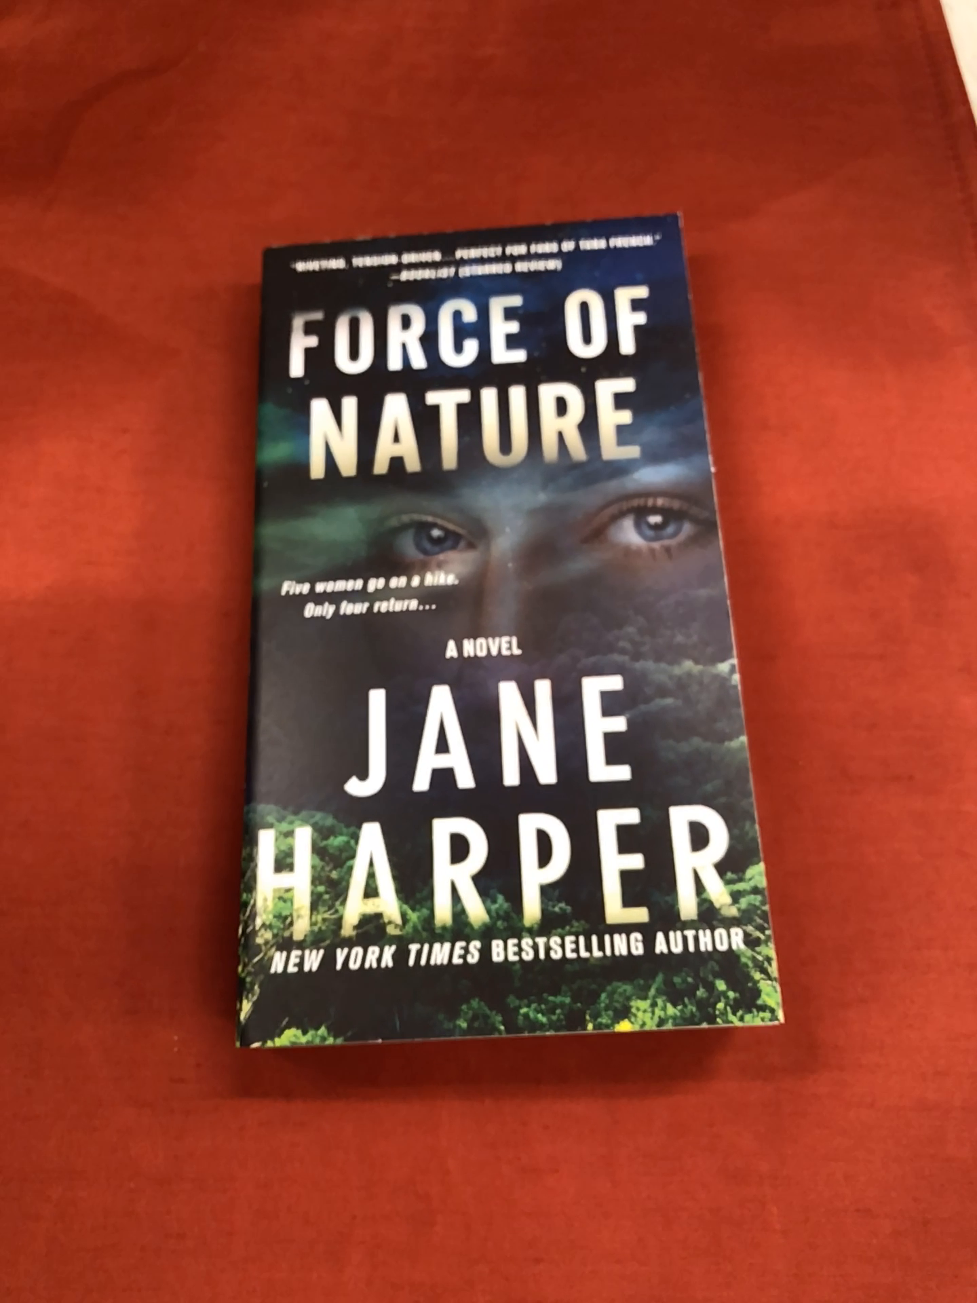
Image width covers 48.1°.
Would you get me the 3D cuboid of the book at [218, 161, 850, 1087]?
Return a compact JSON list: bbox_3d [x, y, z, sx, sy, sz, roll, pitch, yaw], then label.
[{"bbox_3d":[0.003,-0.008,0.240,0.110,0.050,0.180,-5,76,2],"label":"book"}]
